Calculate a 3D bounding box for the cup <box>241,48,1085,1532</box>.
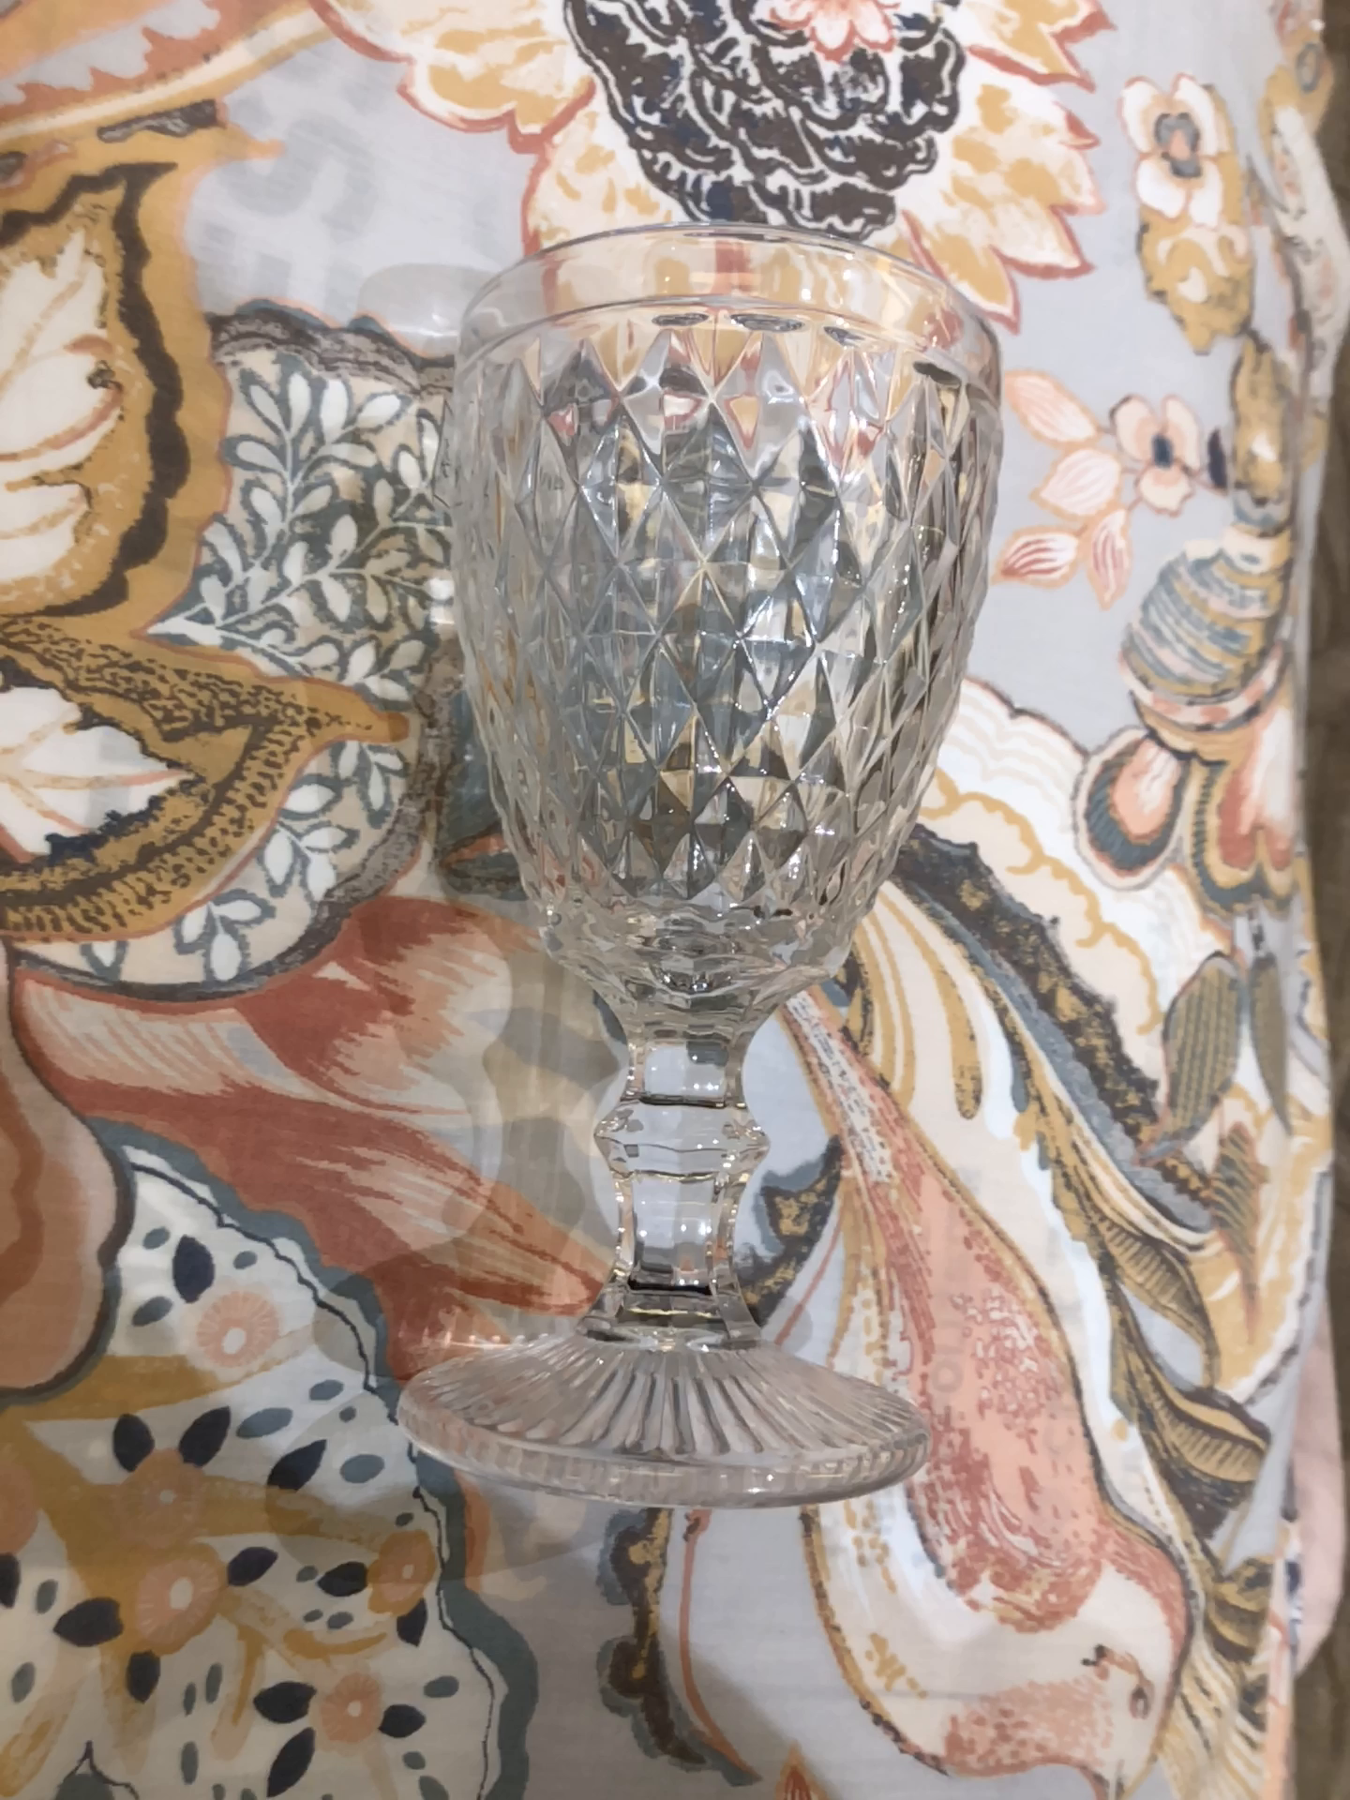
[{"bbox_3d":[-0.002,-0.009,0.222,0.090,0.080,0.170,8,78,-26],"label":"cup"}]
